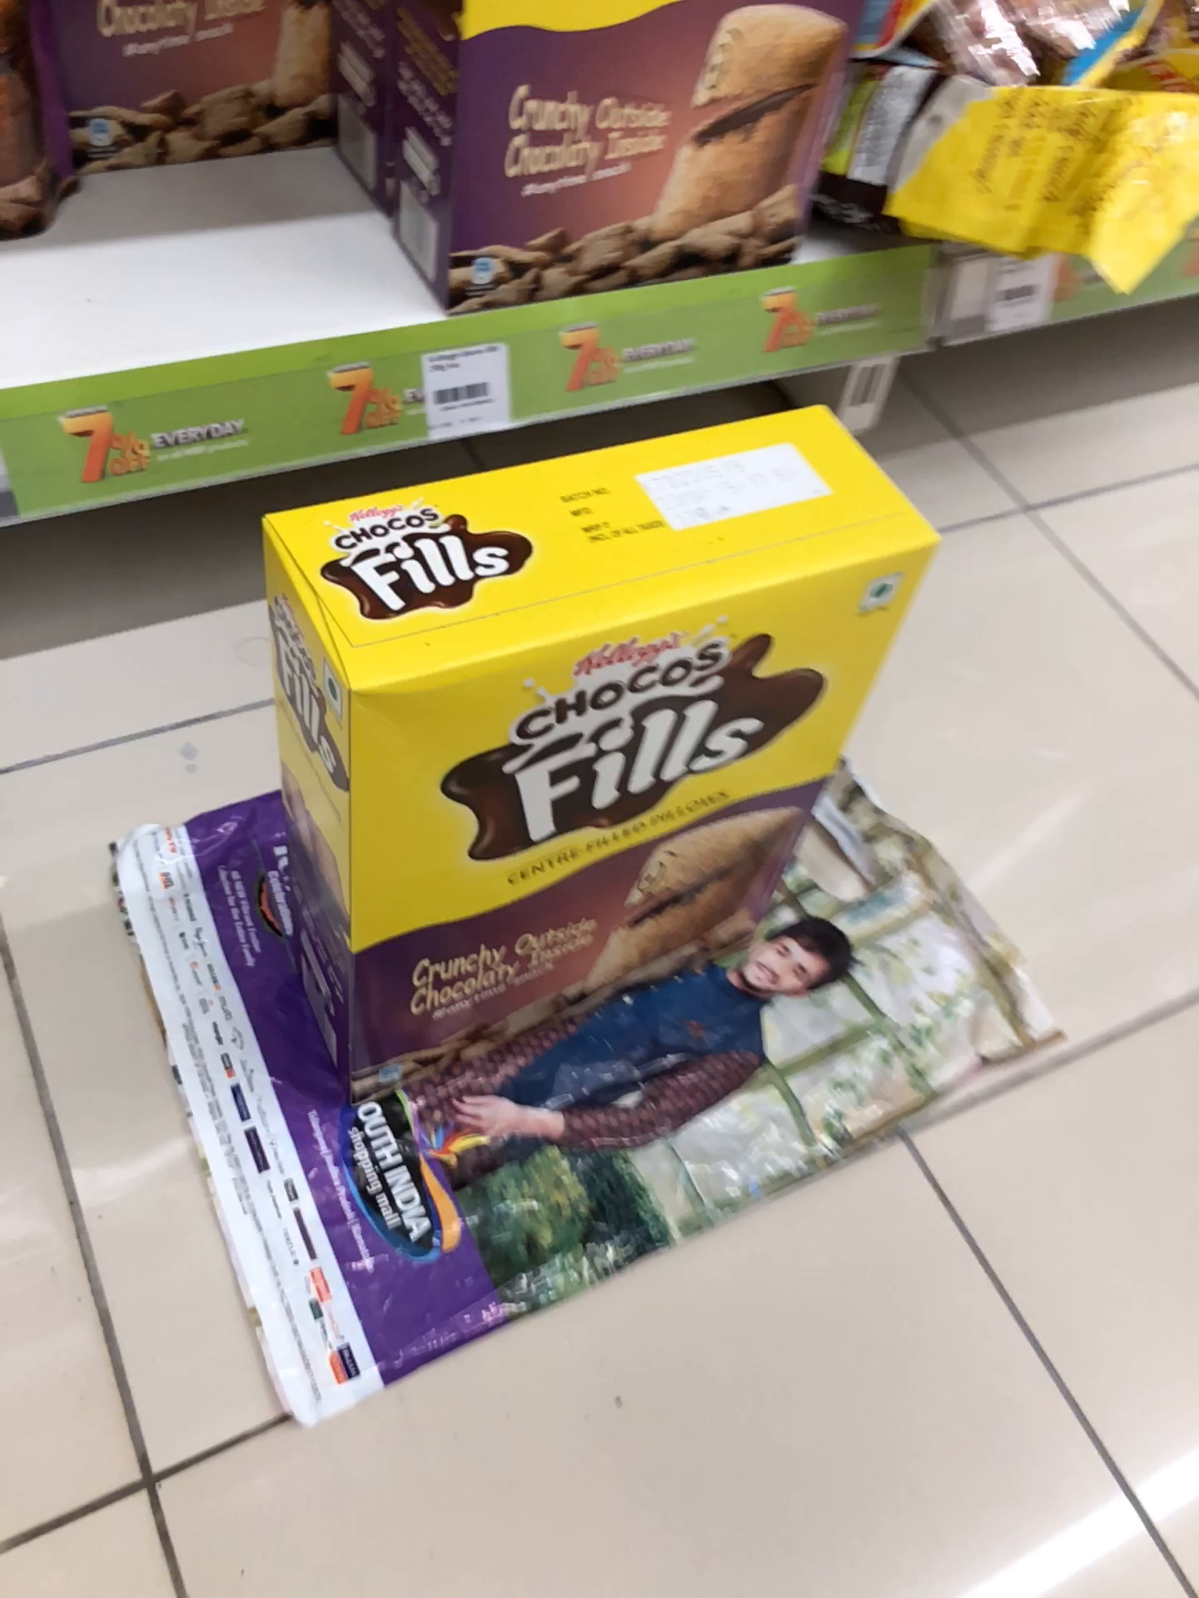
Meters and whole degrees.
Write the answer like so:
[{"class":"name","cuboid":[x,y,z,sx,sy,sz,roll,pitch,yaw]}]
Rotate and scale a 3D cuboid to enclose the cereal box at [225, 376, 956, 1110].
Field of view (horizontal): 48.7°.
[{"class":"cereal box","cuboid":[-0.013,-0.009,0.450,0.191,0.229,0.070,-19,58,-23]}]
